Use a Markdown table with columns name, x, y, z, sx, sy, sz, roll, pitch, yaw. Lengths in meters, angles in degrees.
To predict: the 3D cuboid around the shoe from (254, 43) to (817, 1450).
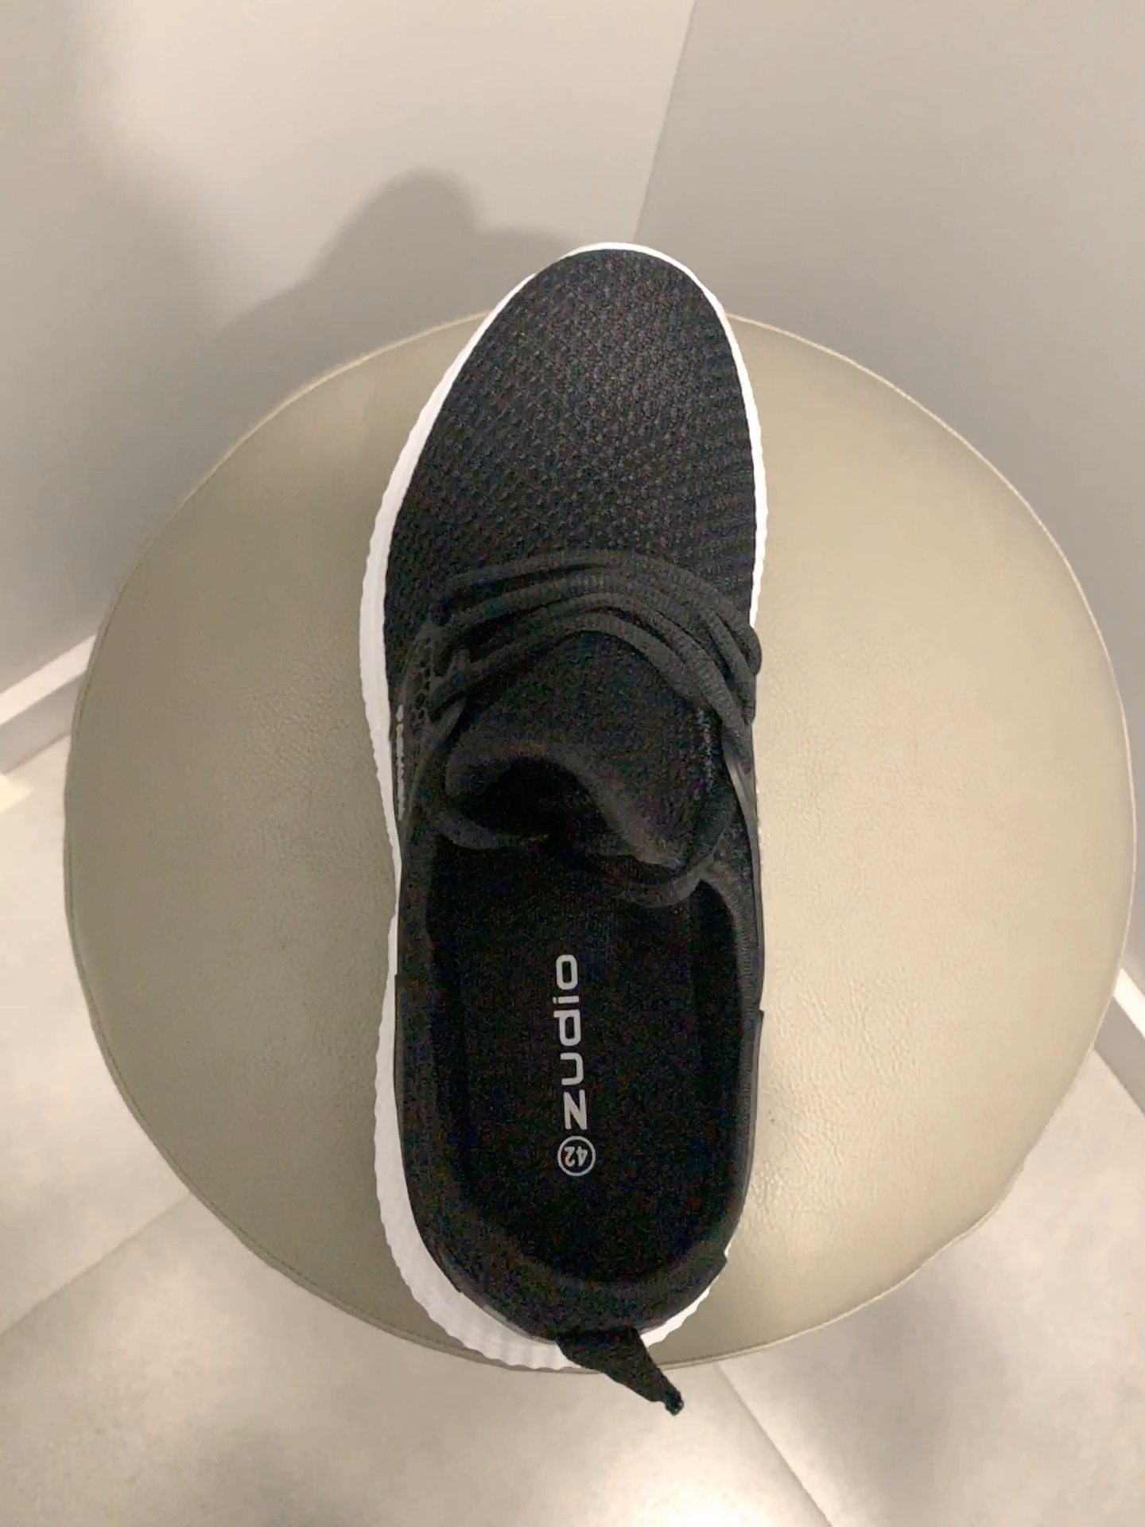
| name | x | y | z | sx | sy | sz | roll | pitch | yaw |
| --- | --- | --- | --- | --- | --- | --- | --- | --- | --- |
| shoe | -0.006 | -0.007 | 0.299 | 0.100 | 0.110 | 0.290 | 4 | 80 | -5 |
